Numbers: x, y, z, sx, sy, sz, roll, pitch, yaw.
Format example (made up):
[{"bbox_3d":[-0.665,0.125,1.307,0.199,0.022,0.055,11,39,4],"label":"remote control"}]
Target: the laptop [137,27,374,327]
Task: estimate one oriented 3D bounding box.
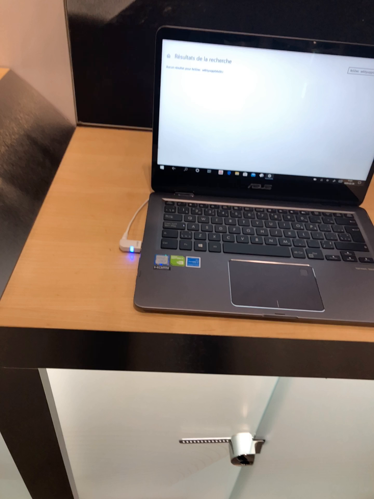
[{"bbox_3d":[0.116,-0.087,0.479,0.320,0.224,0.240,4,42,-3],"label":"laptop"}]
